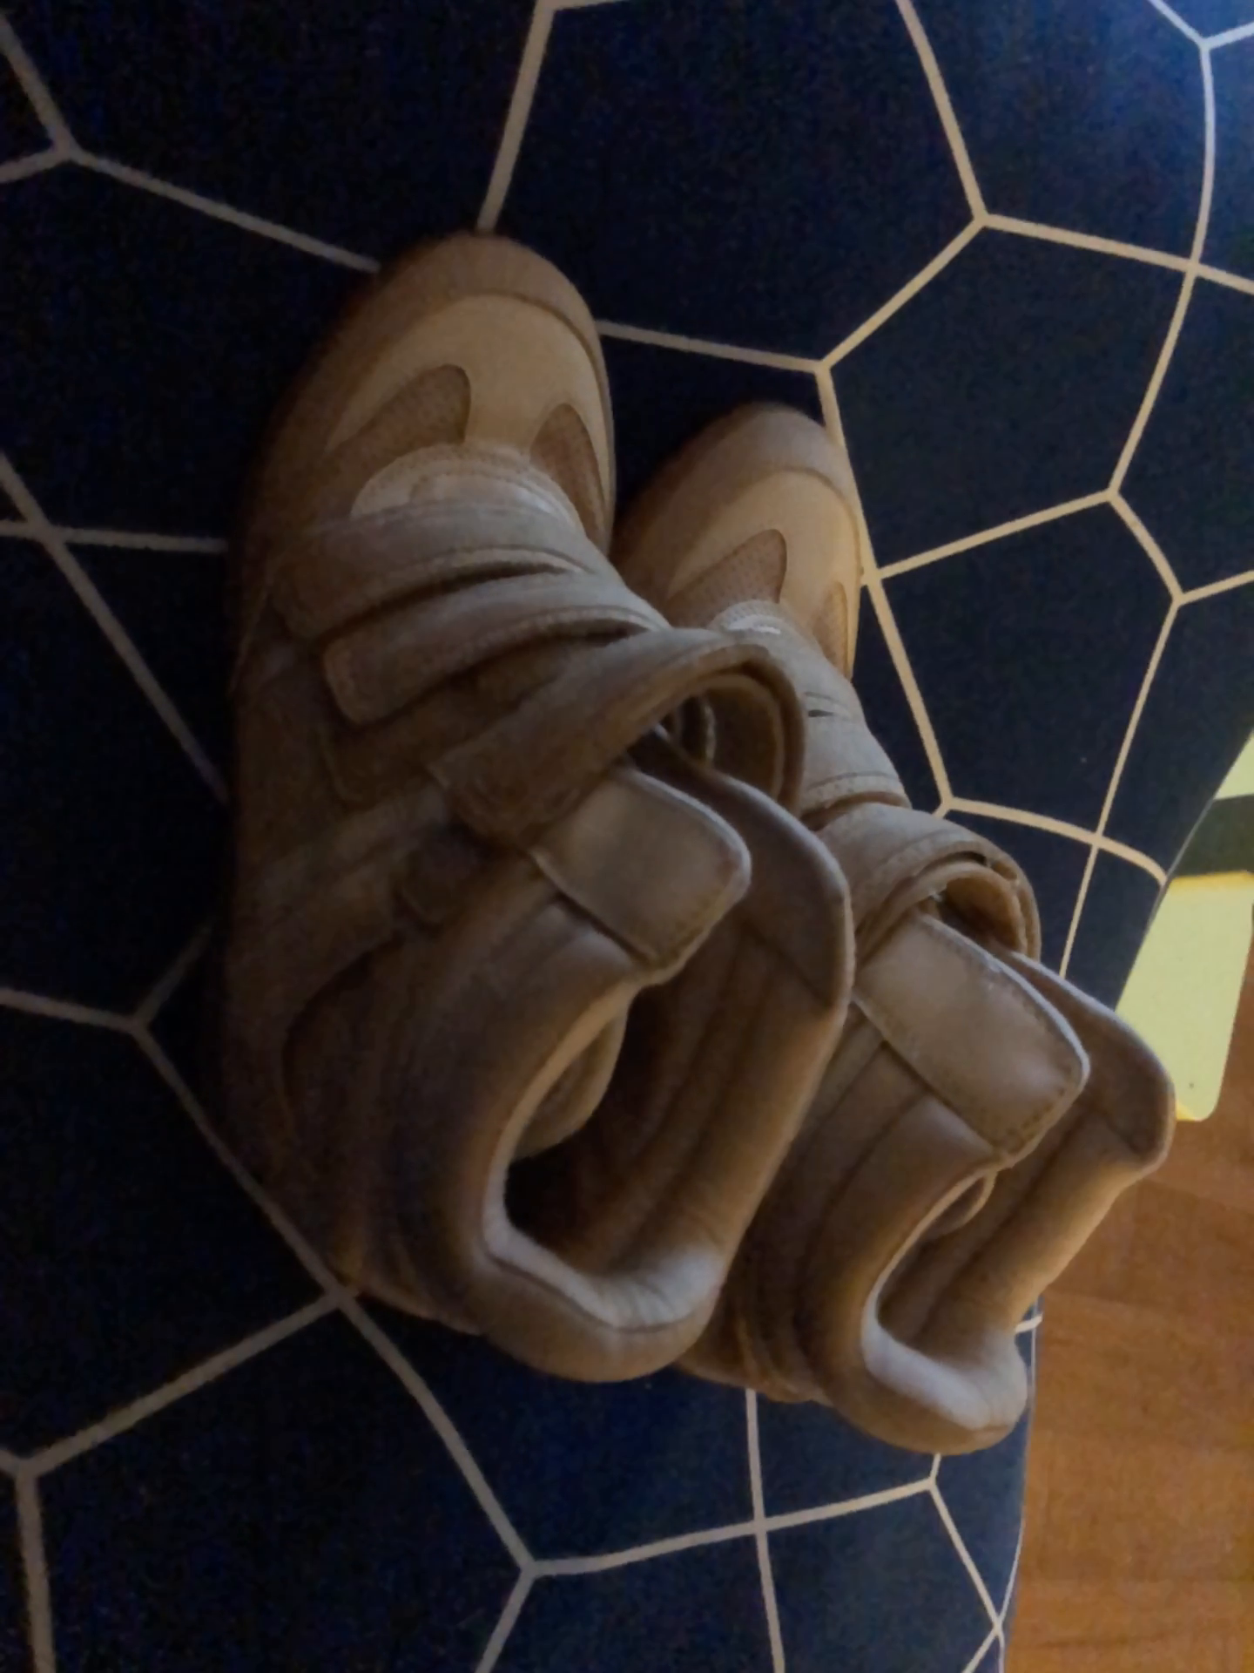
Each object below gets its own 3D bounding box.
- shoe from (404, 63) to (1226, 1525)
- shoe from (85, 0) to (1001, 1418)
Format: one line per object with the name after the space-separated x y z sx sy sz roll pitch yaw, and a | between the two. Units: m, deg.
0.049 -0.006 0.330 0.100 0.130 0.280 19 73 -36 | shoe
-0.017 -0.034 0.290 0.100 0.139 0.260 15 75 -37 | shoe
